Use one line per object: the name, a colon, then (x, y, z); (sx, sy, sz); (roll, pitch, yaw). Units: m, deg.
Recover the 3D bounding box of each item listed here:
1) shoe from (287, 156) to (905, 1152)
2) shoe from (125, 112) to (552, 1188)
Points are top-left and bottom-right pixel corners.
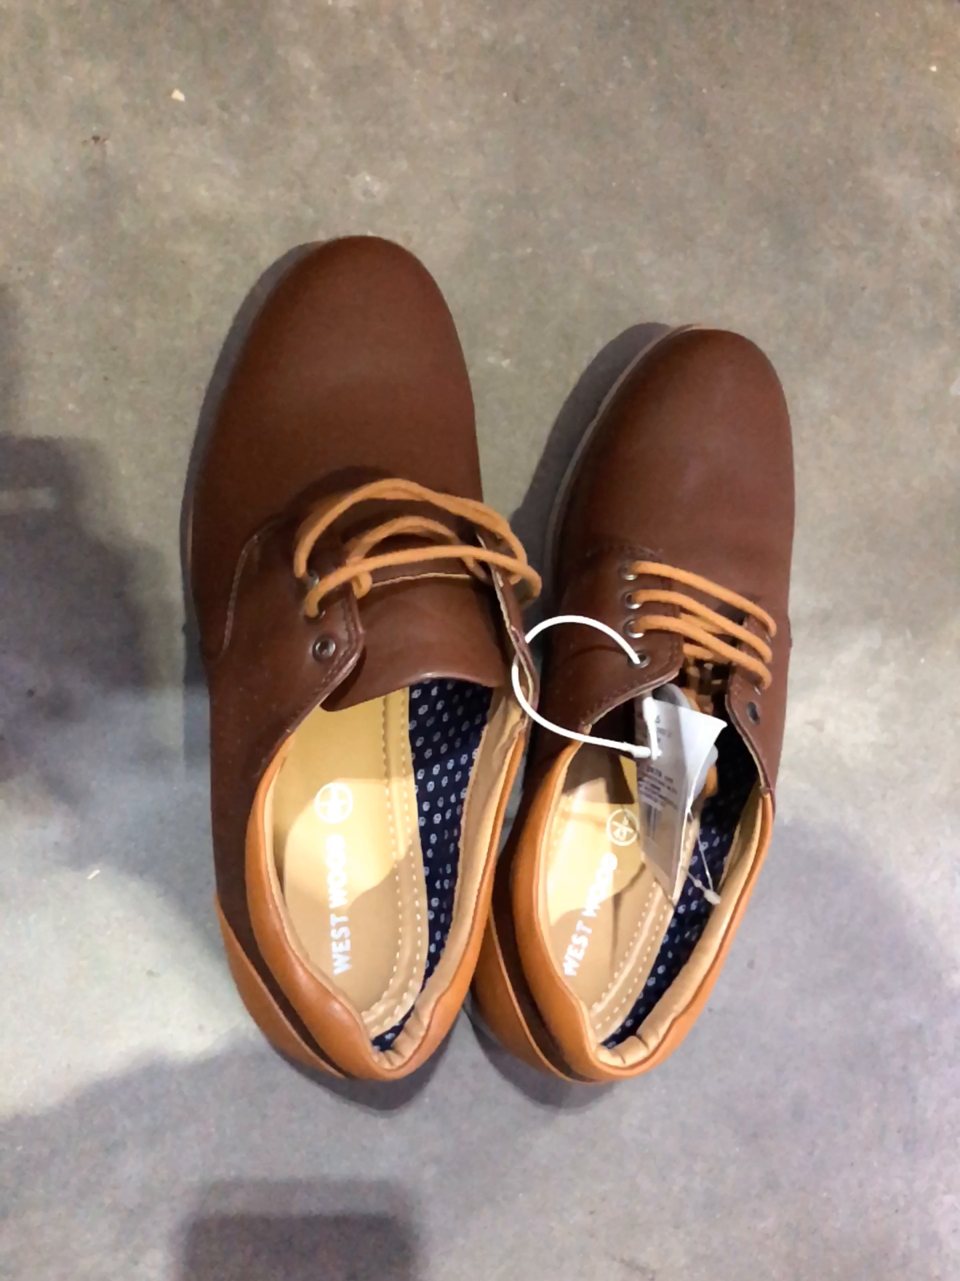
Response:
shoe: (0.041, 0.004, 0.415); (0.120, 0.130, 0.310); (20, 78, -13)
shoe: (-0.050, 0.003, 0.348); (0.110, 0.120, 0.280); (2, 82, -17)
